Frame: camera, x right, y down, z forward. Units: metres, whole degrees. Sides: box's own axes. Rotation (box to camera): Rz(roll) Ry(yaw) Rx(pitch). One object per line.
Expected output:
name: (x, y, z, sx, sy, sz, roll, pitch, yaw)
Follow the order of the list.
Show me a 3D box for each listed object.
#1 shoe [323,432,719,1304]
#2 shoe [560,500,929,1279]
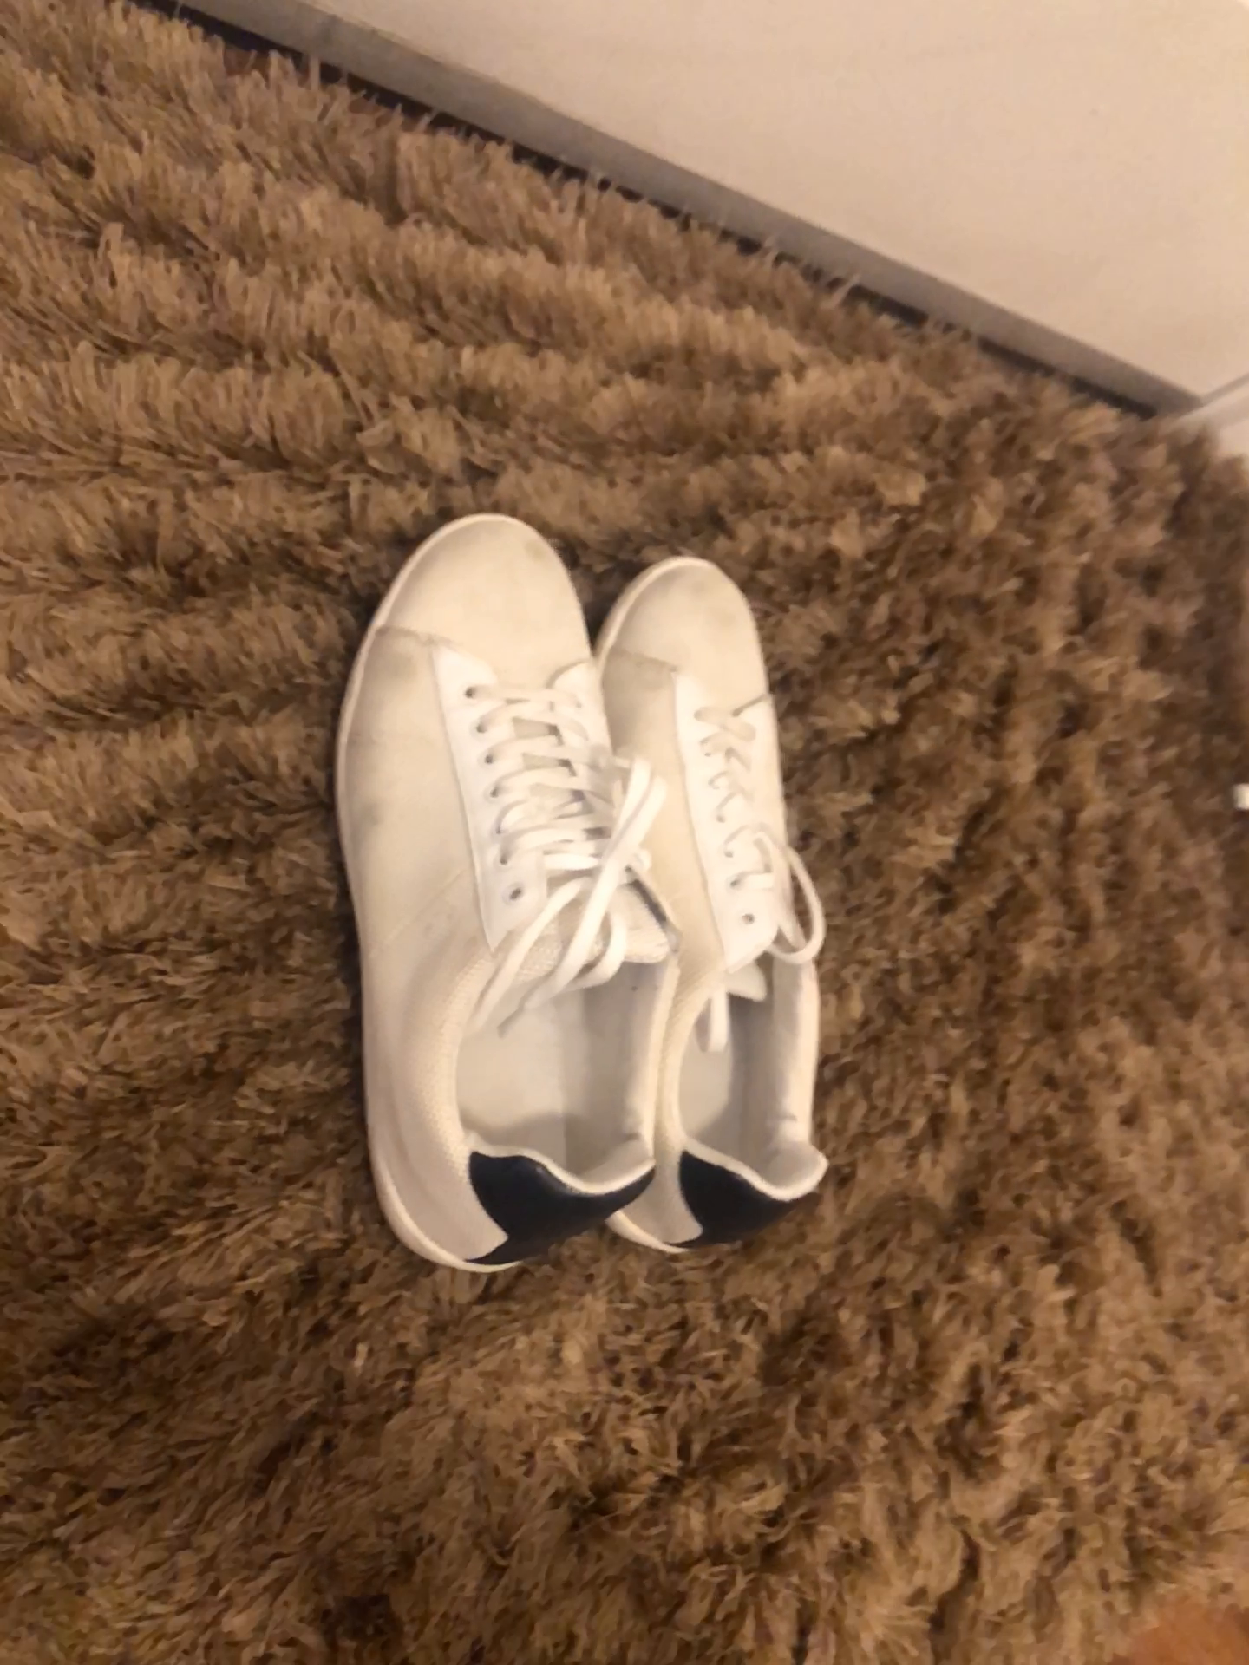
shoe: (-0.036, 0.014, 0.472, 0.101, 0.079, 0.263, 7, 75, -33)
shoe: (0.041, 0.024, 0.523, 0.105, 0.079, 0.263, 8, 75, -33)
